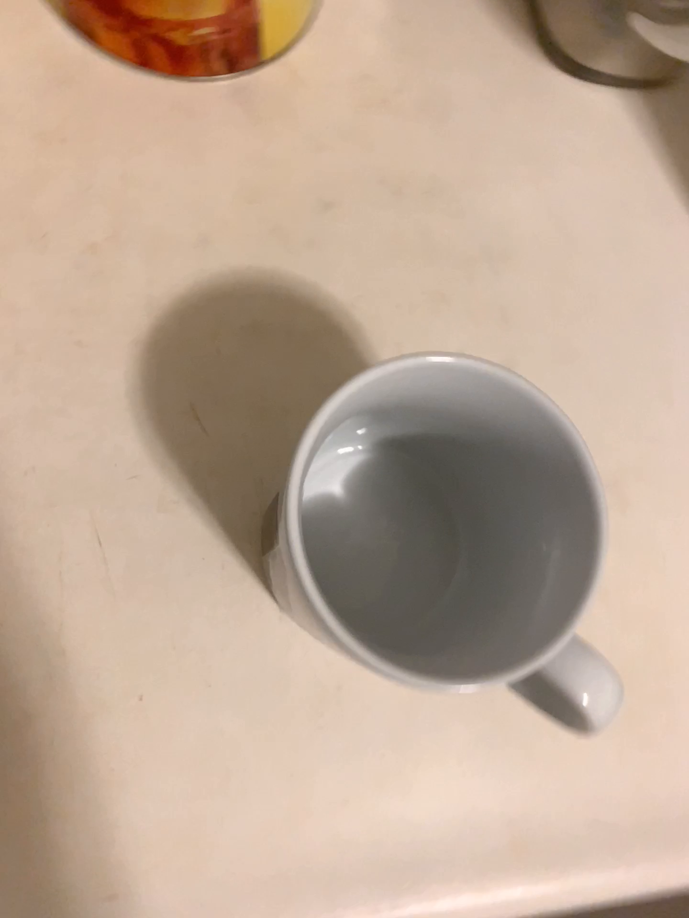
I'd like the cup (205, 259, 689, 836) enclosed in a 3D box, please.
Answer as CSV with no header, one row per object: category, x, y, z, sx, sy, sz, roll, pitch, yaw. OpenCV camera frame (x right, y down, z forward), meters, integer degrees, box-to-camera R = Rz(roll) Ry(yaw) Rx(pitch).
cup,0.035,0.030,0.254,0.130,0.110,0.100,45,74,-2

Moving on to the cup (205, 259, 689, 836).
cup,0.035,0.030,0.254,0.130,0.110,0.100,45,74,-2
